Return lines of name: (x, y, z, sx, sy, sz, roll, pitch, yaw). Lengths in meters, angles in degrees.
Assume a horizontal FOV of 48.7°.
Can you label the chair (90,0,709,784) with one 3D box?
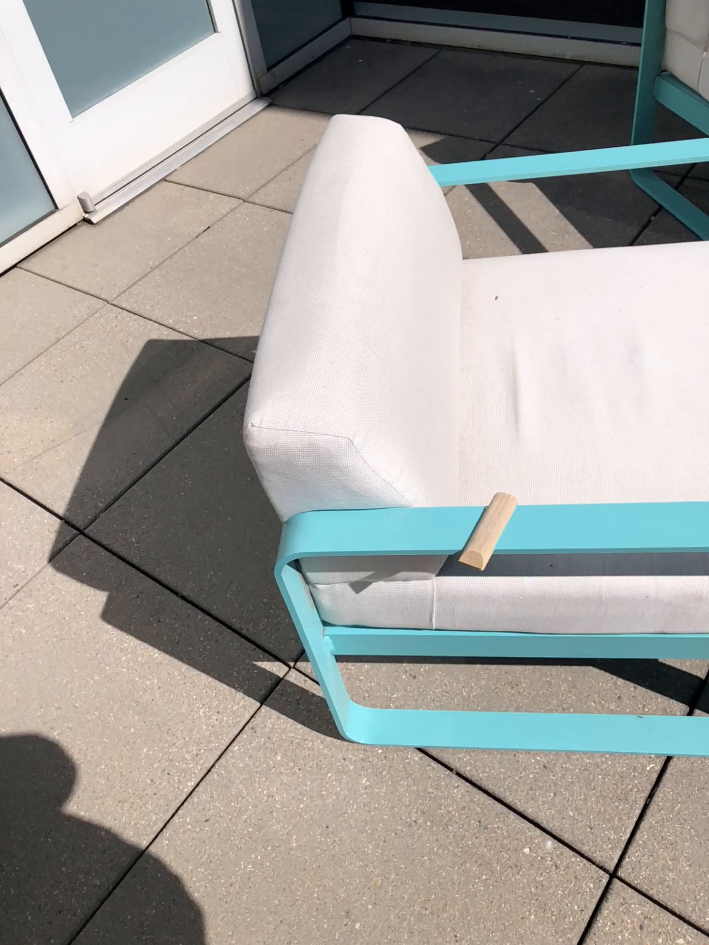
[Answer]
chair: (0.280, -0.127, 1.196, 0.870, 0.767, 0.903, -4, 48, 9)
